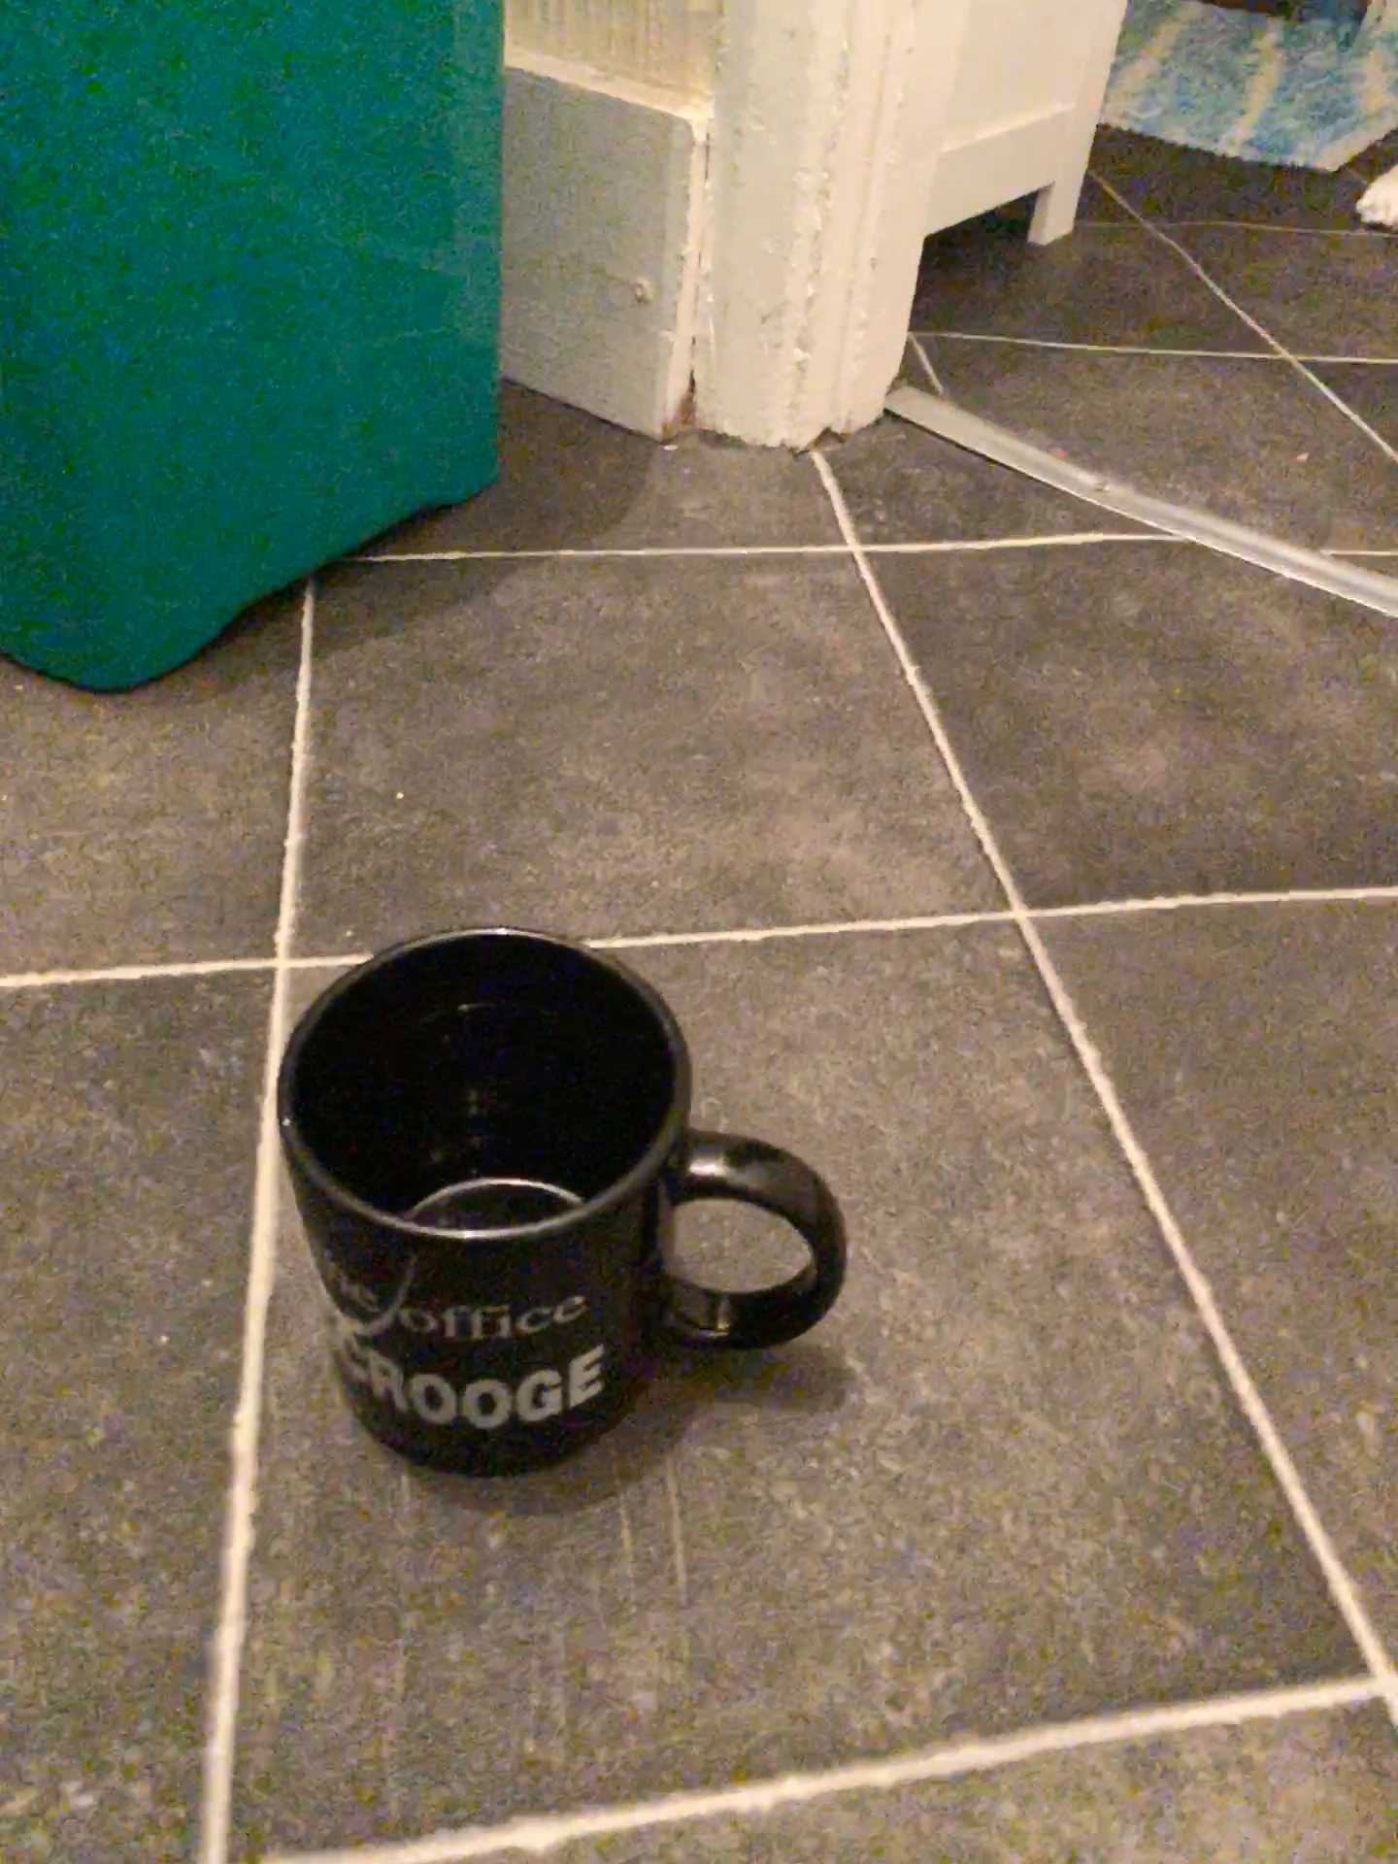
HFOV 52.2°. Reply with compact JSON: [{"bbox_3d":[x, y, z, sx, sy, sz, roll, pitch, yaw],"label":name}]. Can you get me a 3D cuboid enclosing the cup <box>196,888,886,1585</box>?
[{"bbox_3d":[-0.029,0.069,0.315,0.117,0.114,0.081,10,43,3],"label":"cup"}]
